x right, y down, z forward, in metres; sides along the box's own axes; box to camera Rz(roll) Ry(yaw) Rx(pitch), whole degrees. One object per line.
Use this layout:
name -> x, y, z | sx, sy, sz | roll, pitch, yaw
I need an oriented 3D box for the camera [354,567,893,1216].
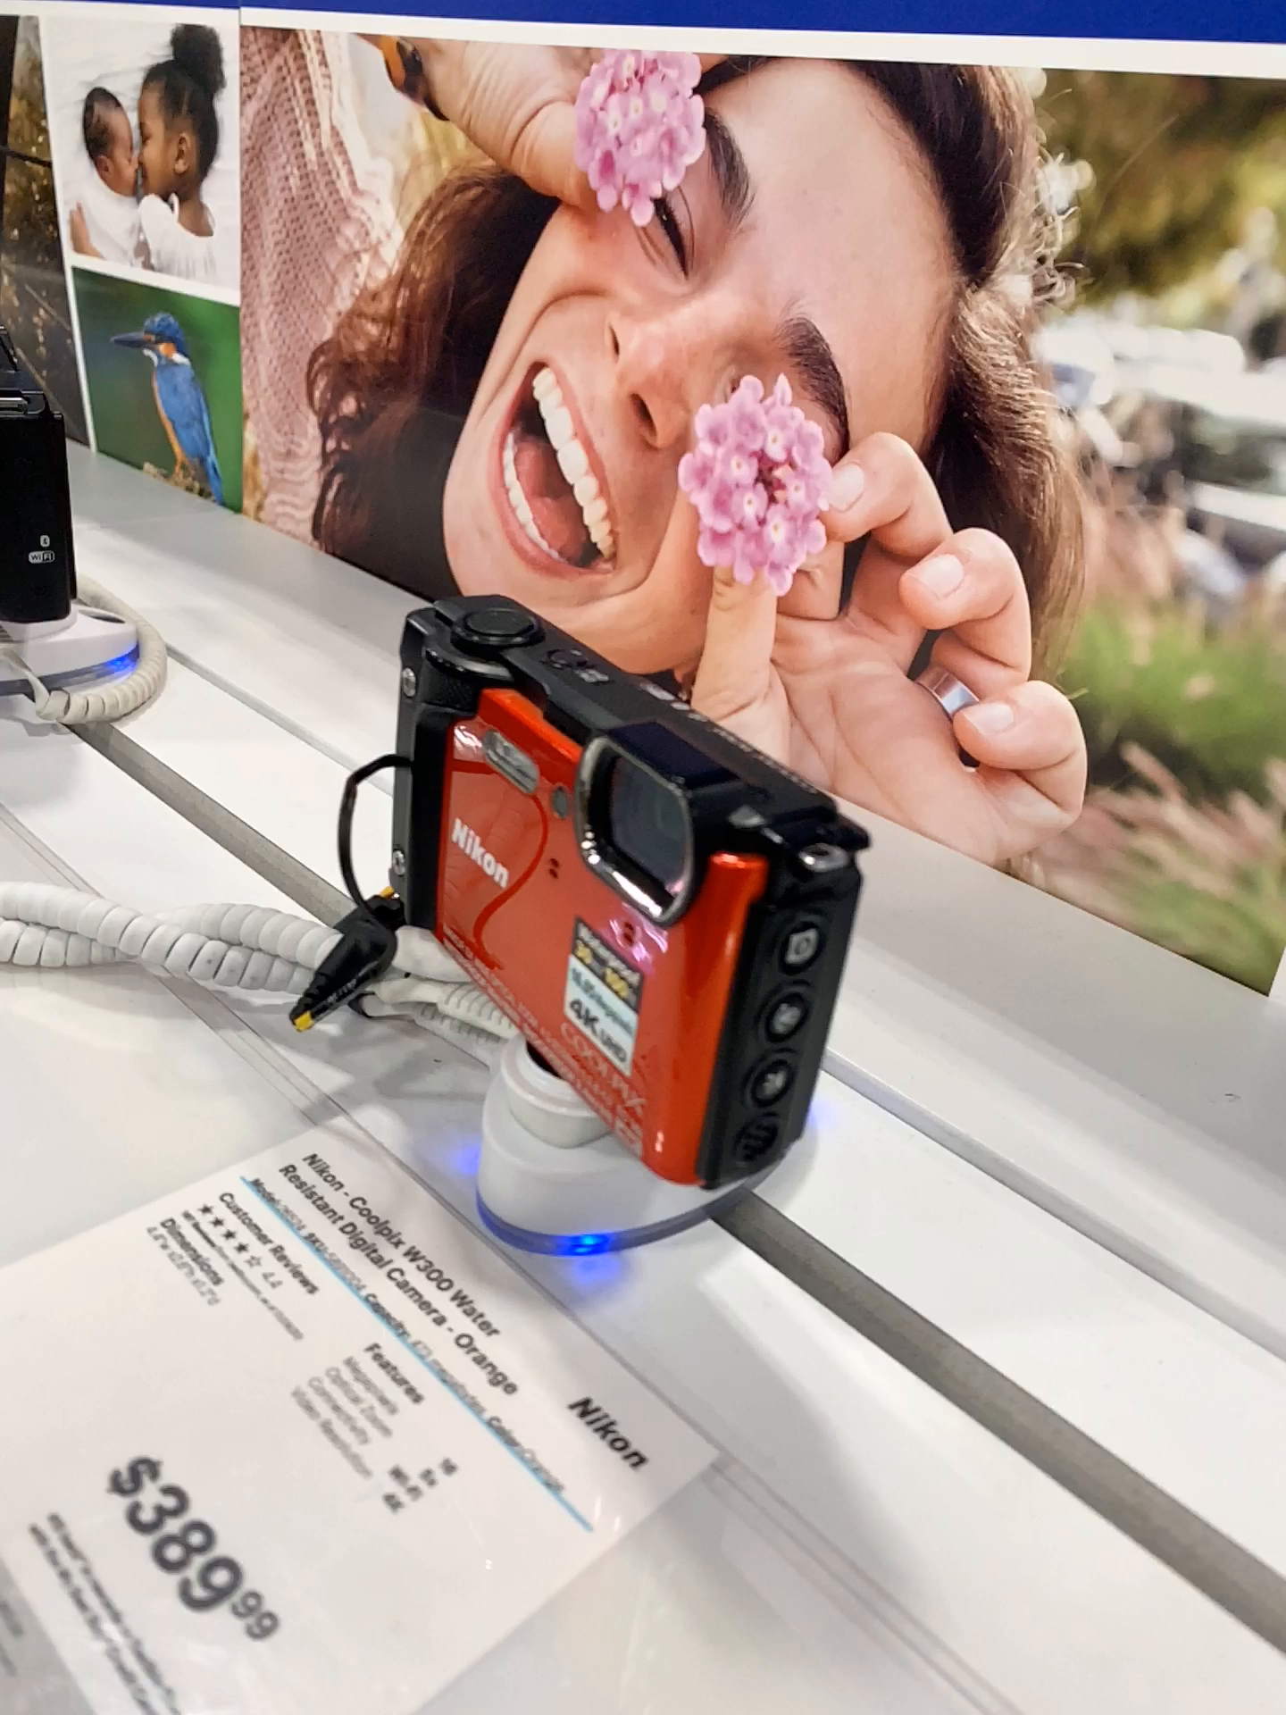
camera -> -0.012, -0.001, 0.222 | 0.025, 0.063, 0.105 | -14, 35, -36
